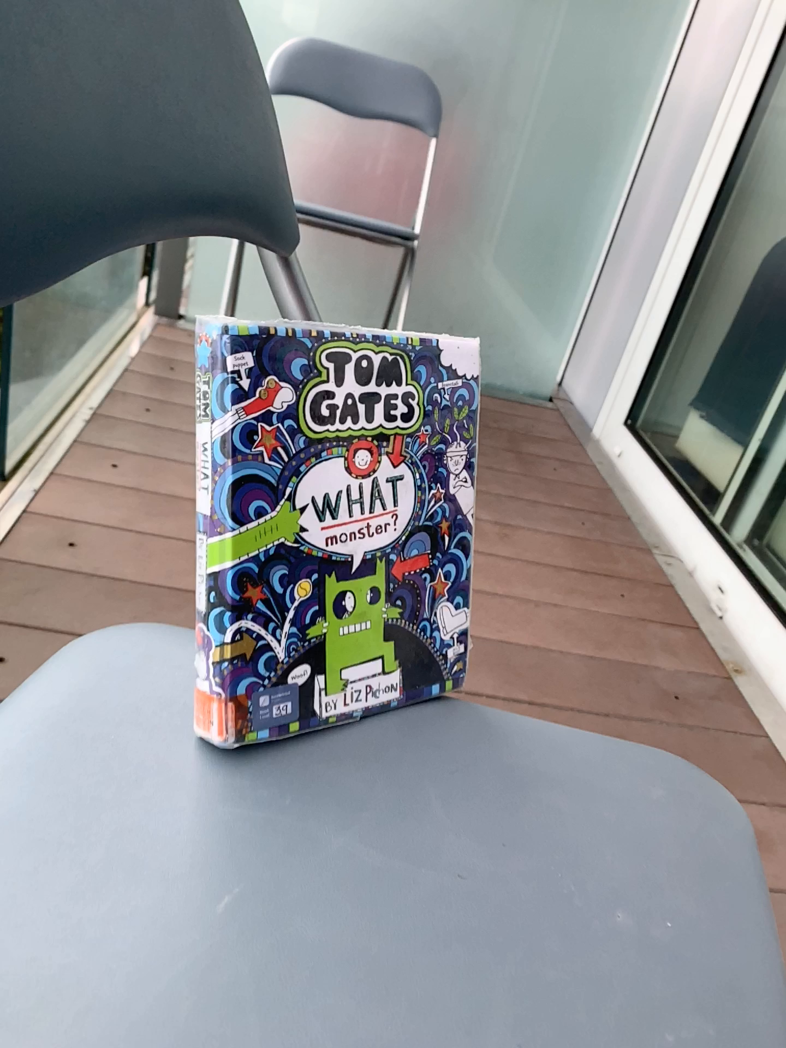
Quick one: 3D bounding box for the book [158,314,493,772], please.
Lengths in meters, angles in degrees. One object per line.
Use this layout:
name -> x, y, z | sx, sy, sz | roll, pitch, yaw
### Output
book -> -0.031, 0.001, 0.413 | 0.161, 0.199, 0.050 | -6, 13, -37
